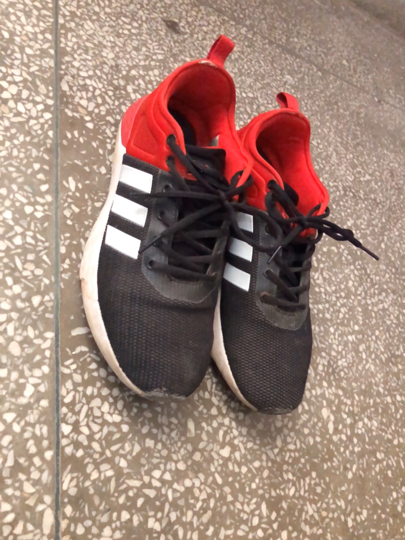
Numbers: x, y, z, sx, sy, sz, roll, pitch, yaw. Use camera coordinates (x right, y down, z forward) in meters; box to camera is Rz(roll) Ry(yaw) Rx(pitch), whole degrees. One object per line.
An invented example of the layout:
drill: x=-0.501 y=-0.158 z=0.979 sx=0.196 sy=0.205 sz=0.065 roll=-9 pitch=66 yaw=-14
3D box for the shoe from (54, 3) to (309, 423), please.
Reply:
shoe: x=-0.022 y=-0.042 z=0.390 sx=0.130 sy=0.140 sz=0.310 roll=16 pitch=60 yaw=-30

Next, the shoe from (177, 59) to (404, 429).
shoe: x=0.066 y=-0.019 z=0.449 sx=0.130 sy=0.140 sz=0.320 roll=14 pitch=60 yaw=-30
